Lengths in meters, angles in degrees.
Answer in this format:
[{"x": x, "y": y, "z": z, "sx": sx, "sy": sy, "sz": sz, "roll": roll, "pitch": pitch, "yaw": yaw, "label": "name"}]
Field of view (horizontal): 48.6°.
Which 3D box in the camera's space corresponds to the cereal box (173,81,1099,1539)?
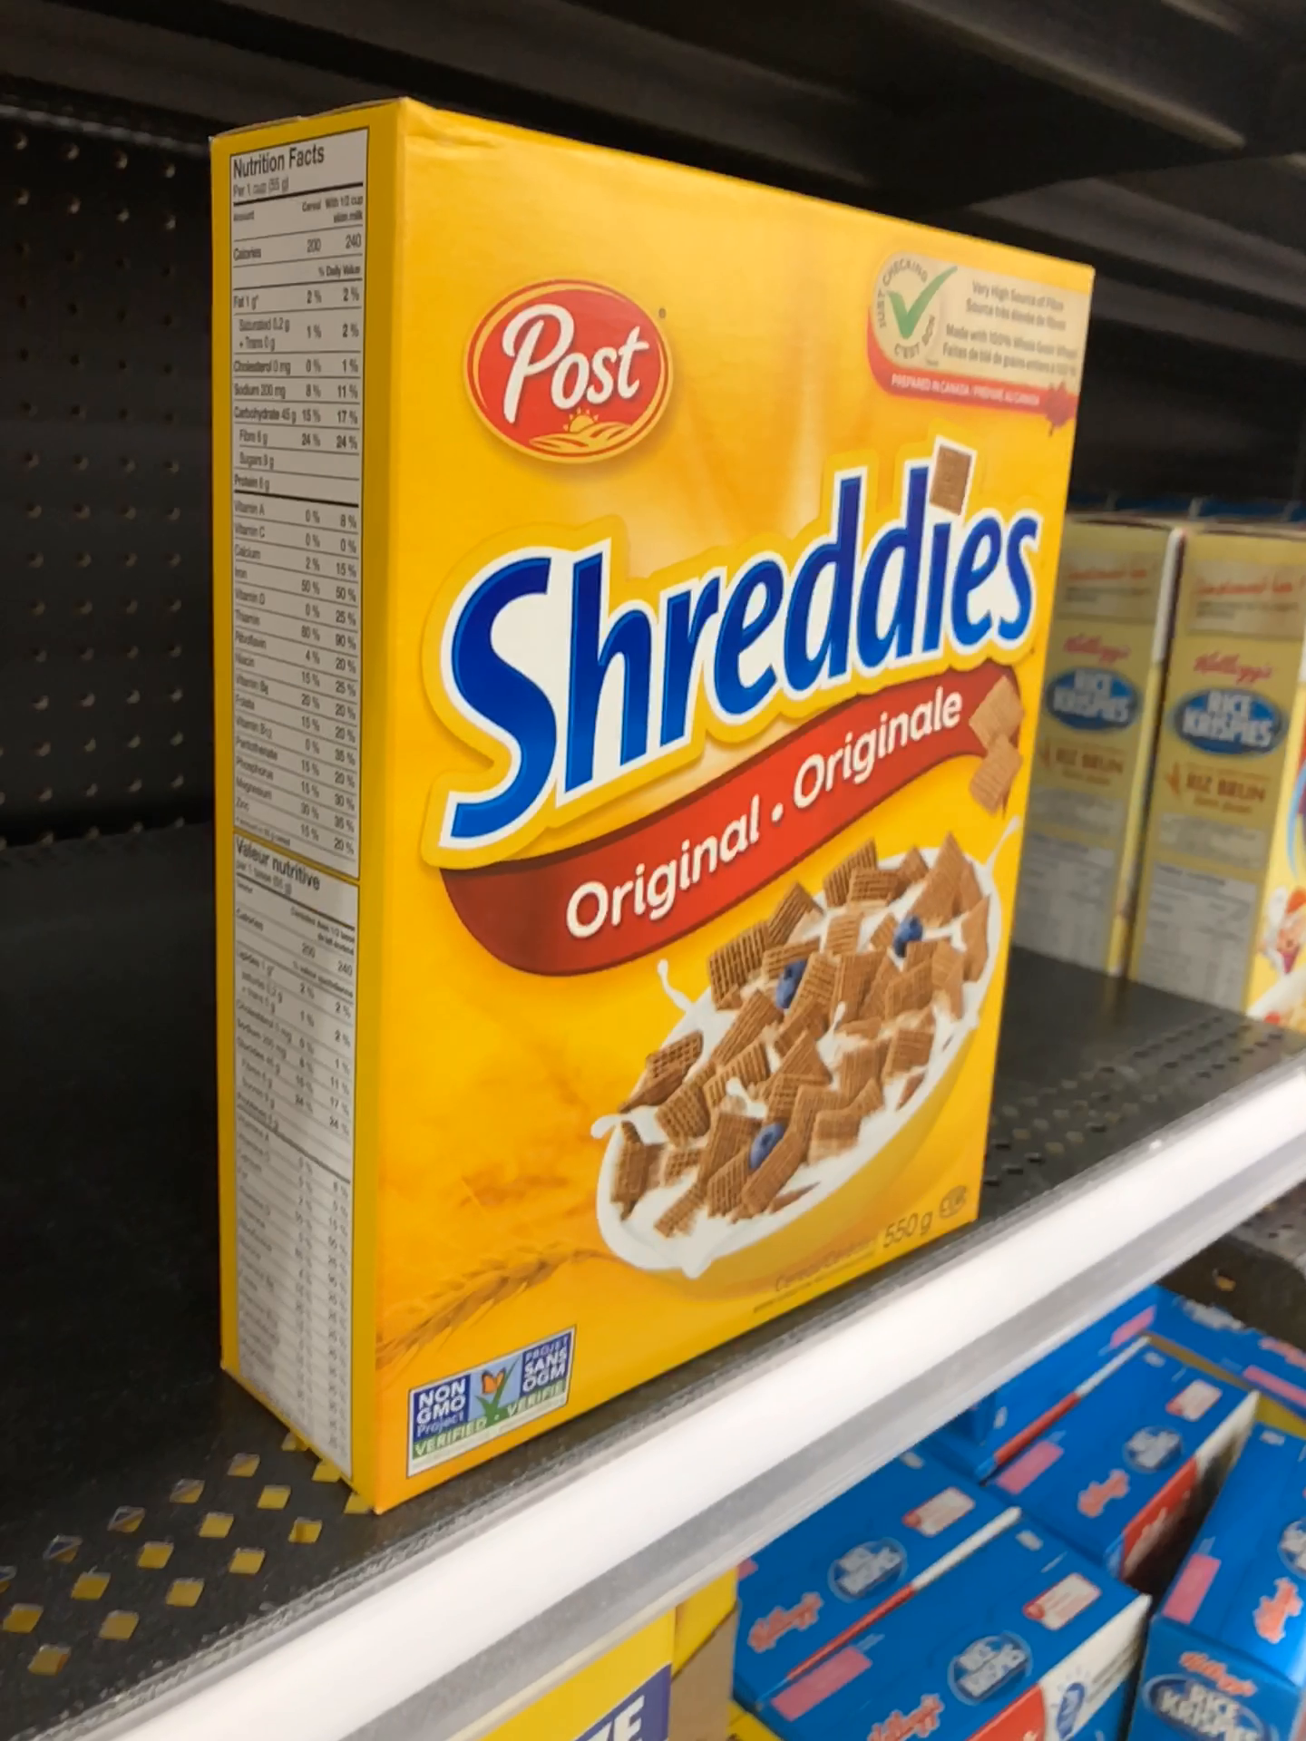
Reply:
[{"x": 0.003, "y": -0.017, "z": 0.346, "sx": 0.210, "sy": 0.259, "sz": 0.070, "roll": -11, "pitch": 20, "yaw": -43, "label": "cereal box"}]
